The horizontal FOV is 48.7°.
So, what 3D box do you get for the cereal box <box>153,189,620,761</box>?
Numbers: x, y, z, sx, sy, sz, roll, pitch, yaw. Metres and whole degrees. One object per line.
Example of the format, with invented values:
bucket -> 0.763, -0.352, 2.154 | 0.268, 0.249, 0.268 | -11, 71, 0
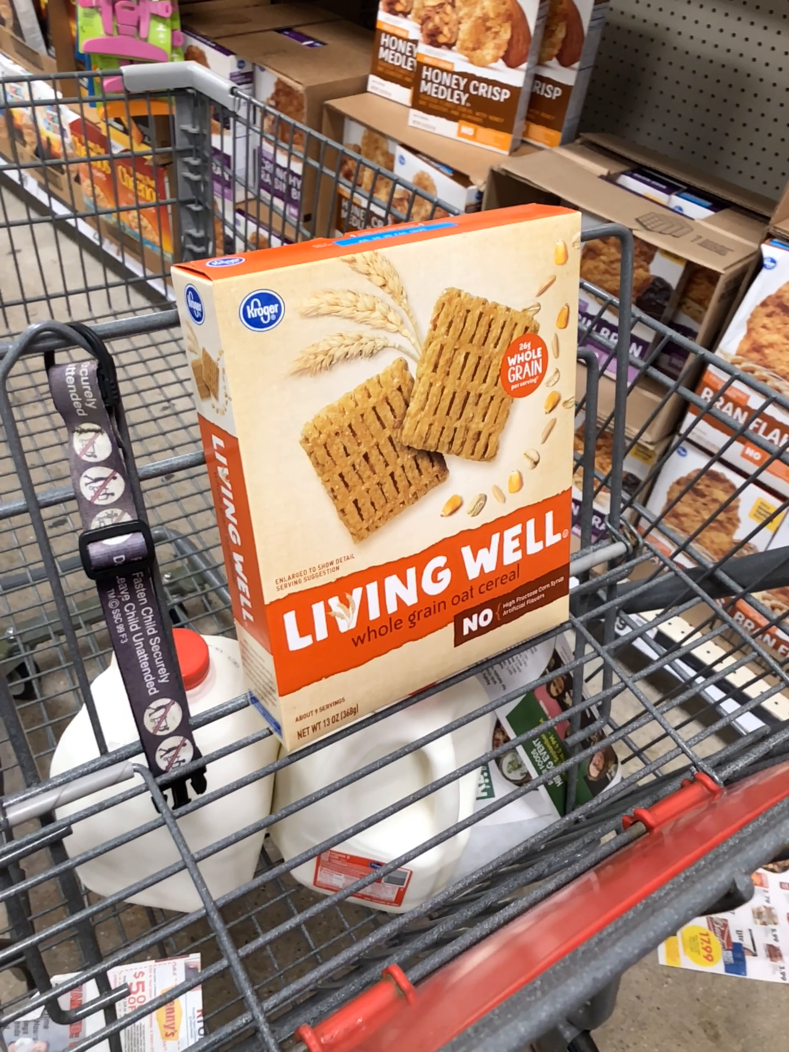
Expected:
cereal box -> 0.009, -0.030, 0.448 | 0.210, 0.240, 0.060 | -20, 33, -27
